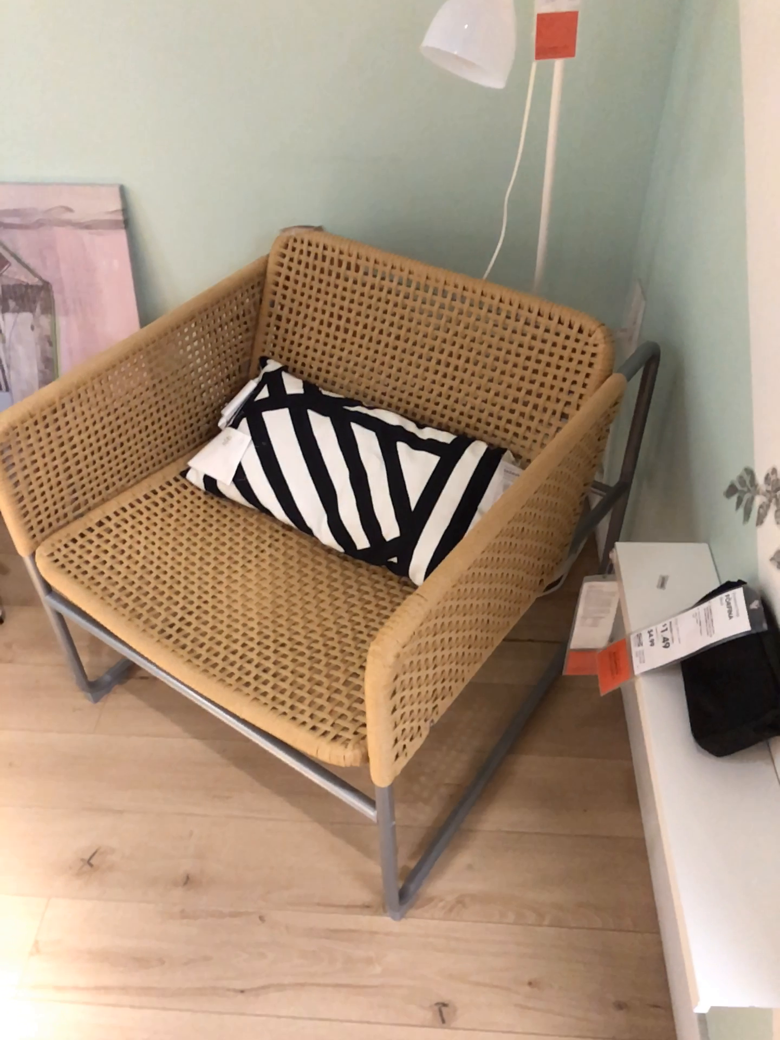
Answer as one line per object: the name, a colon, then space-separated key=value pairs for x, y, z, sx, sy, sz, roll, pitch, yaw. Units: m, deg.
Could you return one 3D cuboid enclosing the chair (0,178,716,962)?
chair: x=-0.092 y=-0.005 z=1.323 sx=0.791 sy=0.628 sz=0.752 roll=25 pitch=49 yaw=26
